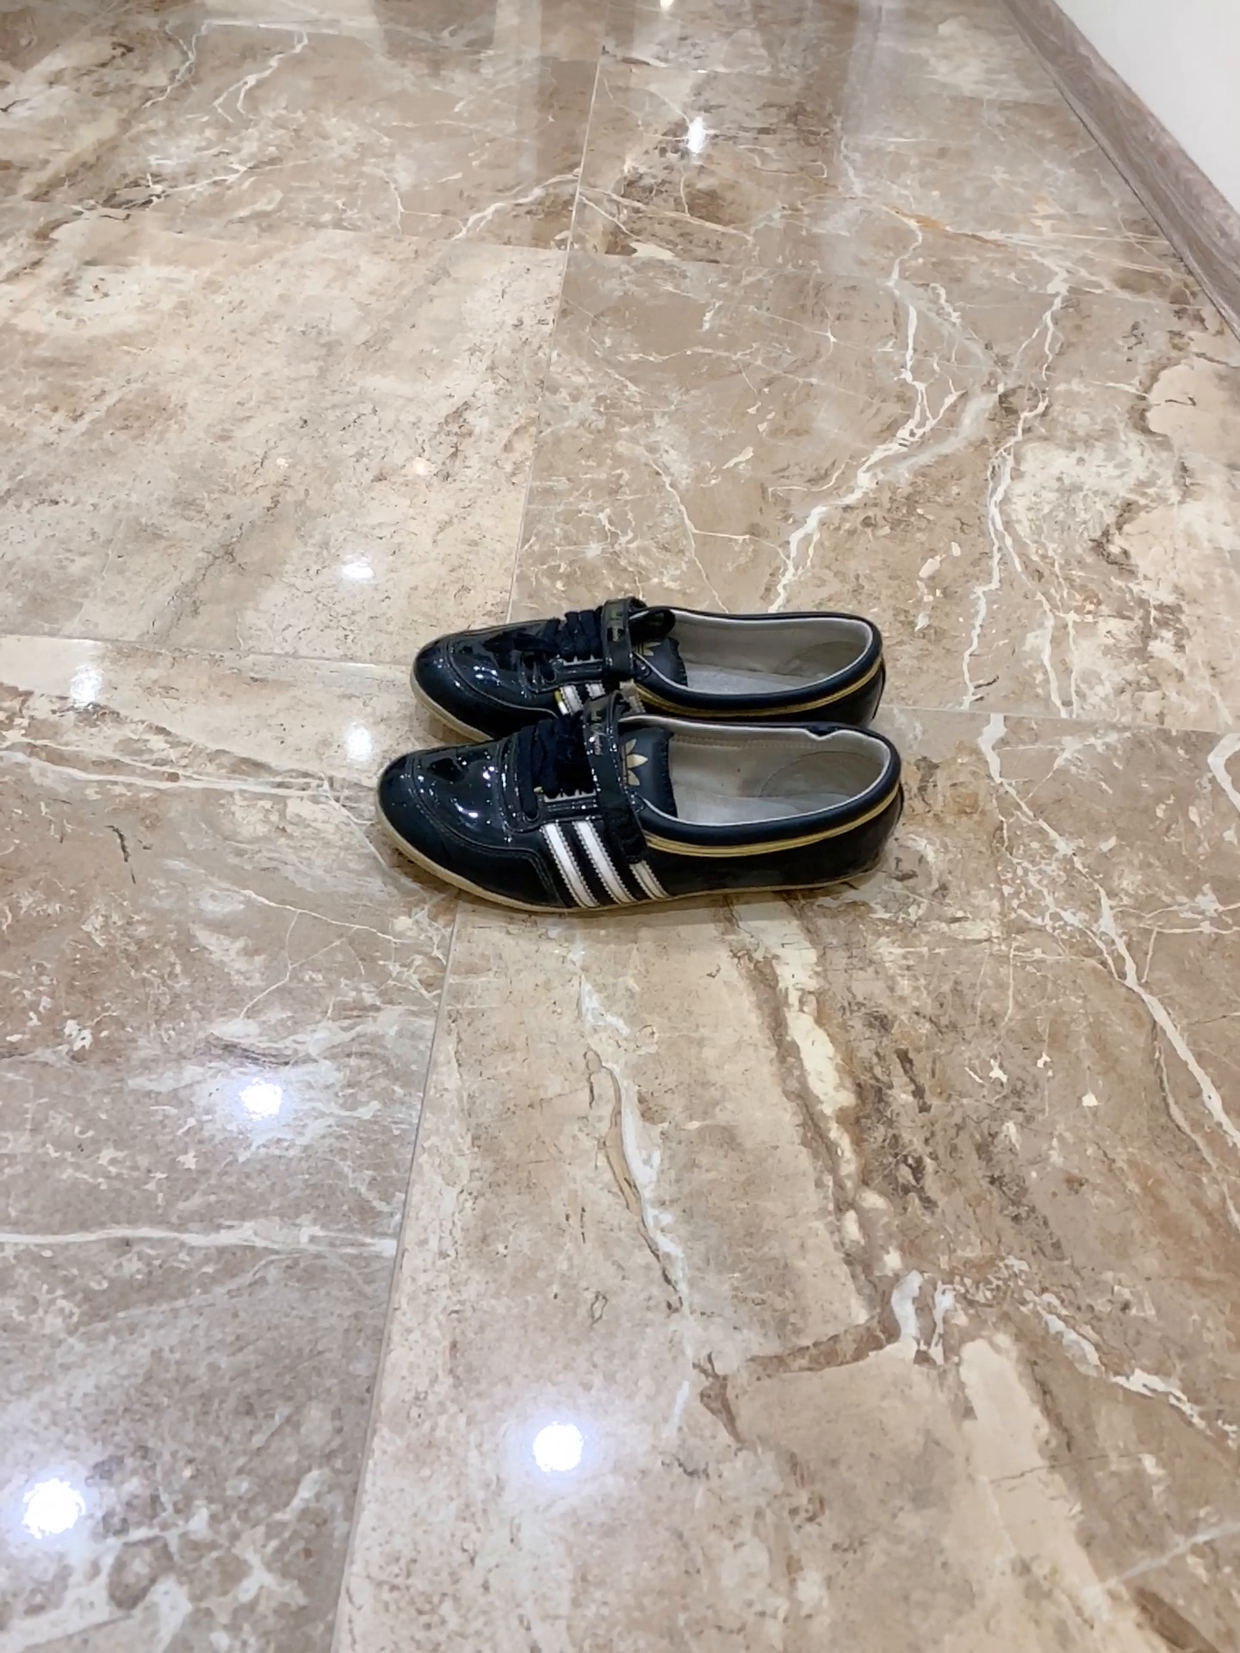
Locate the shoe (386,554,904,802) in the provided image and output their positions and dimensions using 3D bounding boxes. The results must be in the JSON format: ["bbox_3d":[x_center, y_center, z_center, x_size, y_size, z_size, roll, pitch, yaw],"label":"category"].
[{"bbox_3d":[0.012,-0.076,0.640,0.240,0.060,0.096,4,44,-2],"label":"shoe"}]

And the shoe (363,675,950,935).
[{"bbox_3d":[0.013,-0.010,0.571,0.240,0.060,0.096,2,45,-4],"label":"shoe"}]
